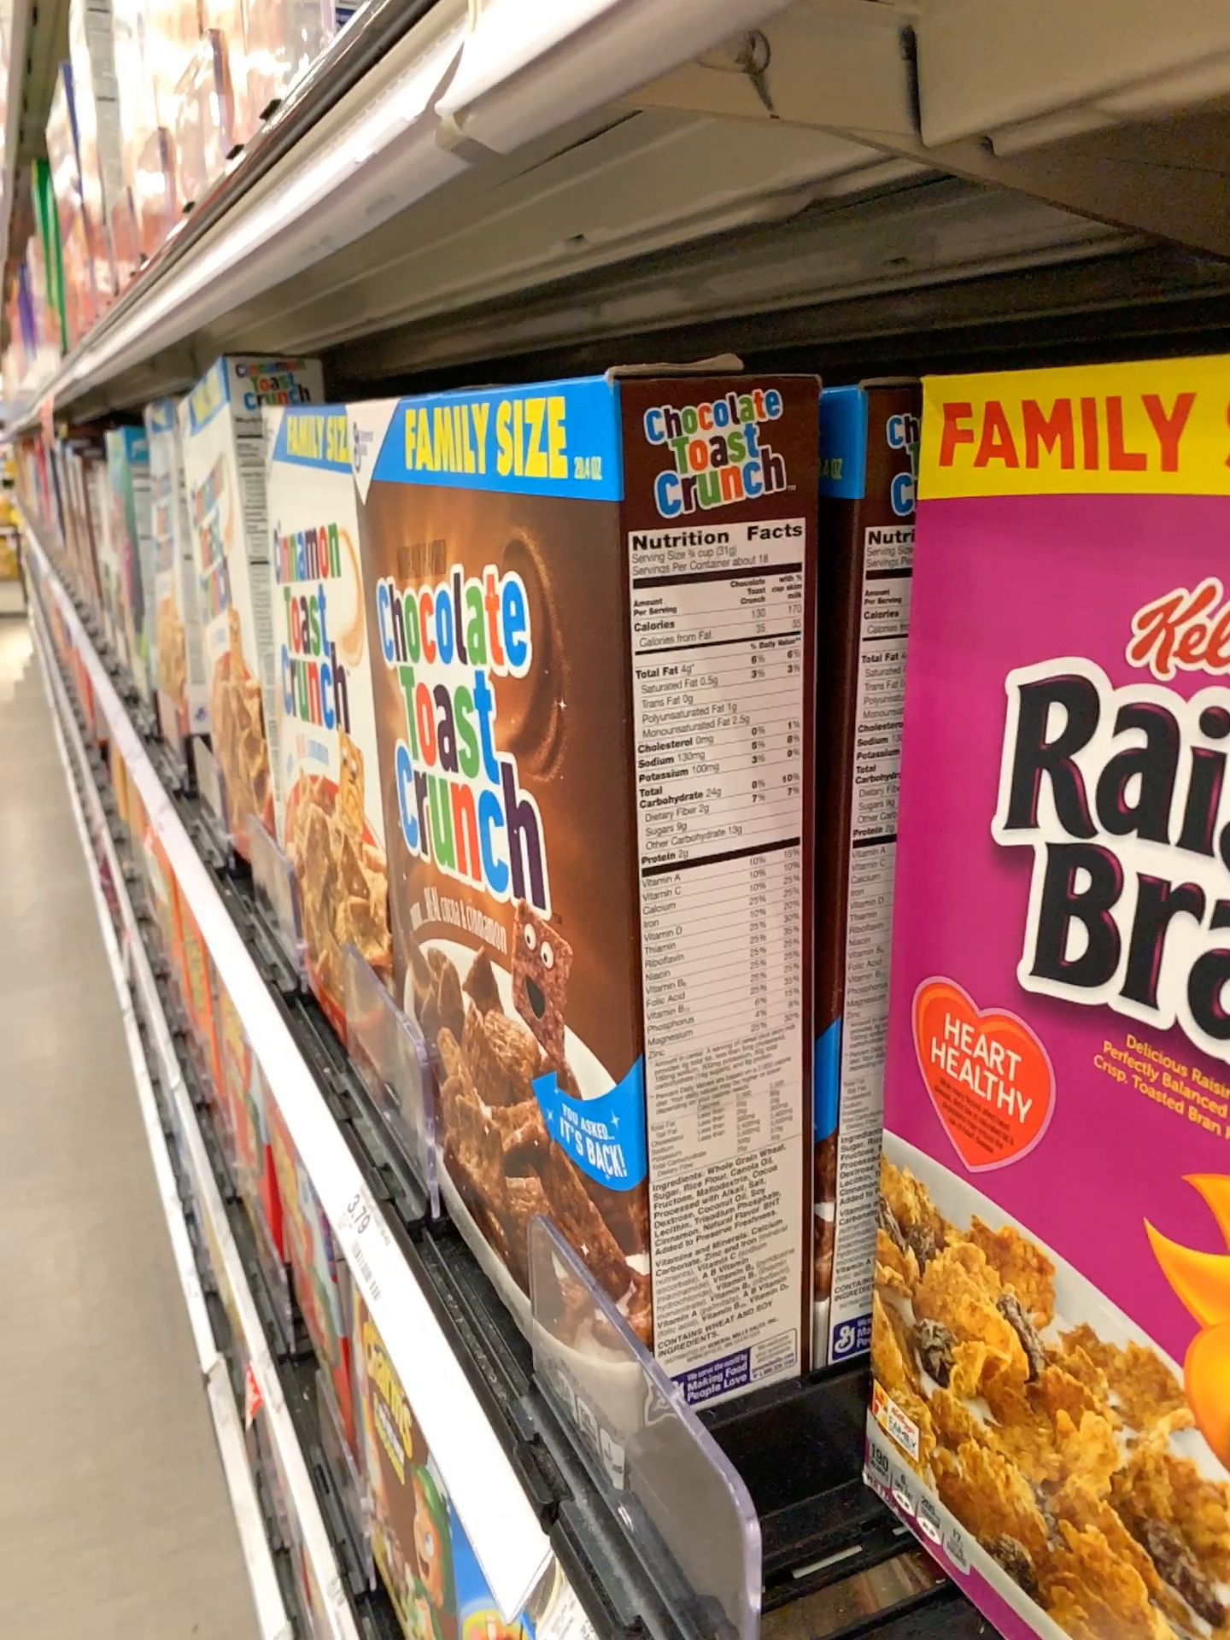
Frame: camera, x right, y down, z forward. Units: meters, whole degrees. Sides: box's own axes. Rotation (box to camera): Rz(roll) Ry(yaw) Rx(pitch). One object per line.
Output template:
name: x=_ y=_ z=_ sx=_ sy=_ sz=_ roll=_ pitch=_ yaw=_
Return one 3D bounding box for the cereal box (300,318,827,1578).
cereal box: x=-0.030 y=0.016 z=0.407 sx=0.060 sy=0.309 sz=0.241 roll=-9 pitch=18 yaw=-24
